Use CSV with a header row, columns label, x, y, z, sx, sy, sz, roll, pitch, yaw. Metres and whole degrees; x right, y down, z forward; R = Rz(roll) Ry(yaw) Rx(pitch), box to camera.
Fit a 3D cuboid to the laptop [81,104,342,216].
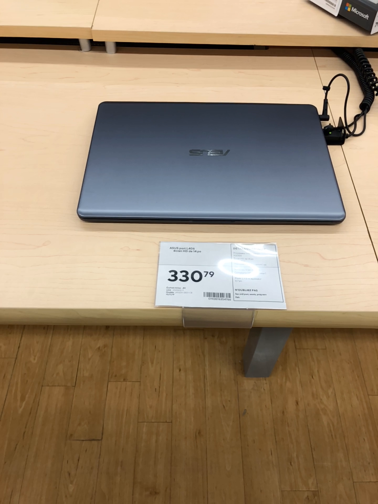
label,x,y,z,sx,sy,sz,roll,pitch,yaw
laptop,0.027,-0.133,0.565,0.318,0.001,0.211,1,55,-1
